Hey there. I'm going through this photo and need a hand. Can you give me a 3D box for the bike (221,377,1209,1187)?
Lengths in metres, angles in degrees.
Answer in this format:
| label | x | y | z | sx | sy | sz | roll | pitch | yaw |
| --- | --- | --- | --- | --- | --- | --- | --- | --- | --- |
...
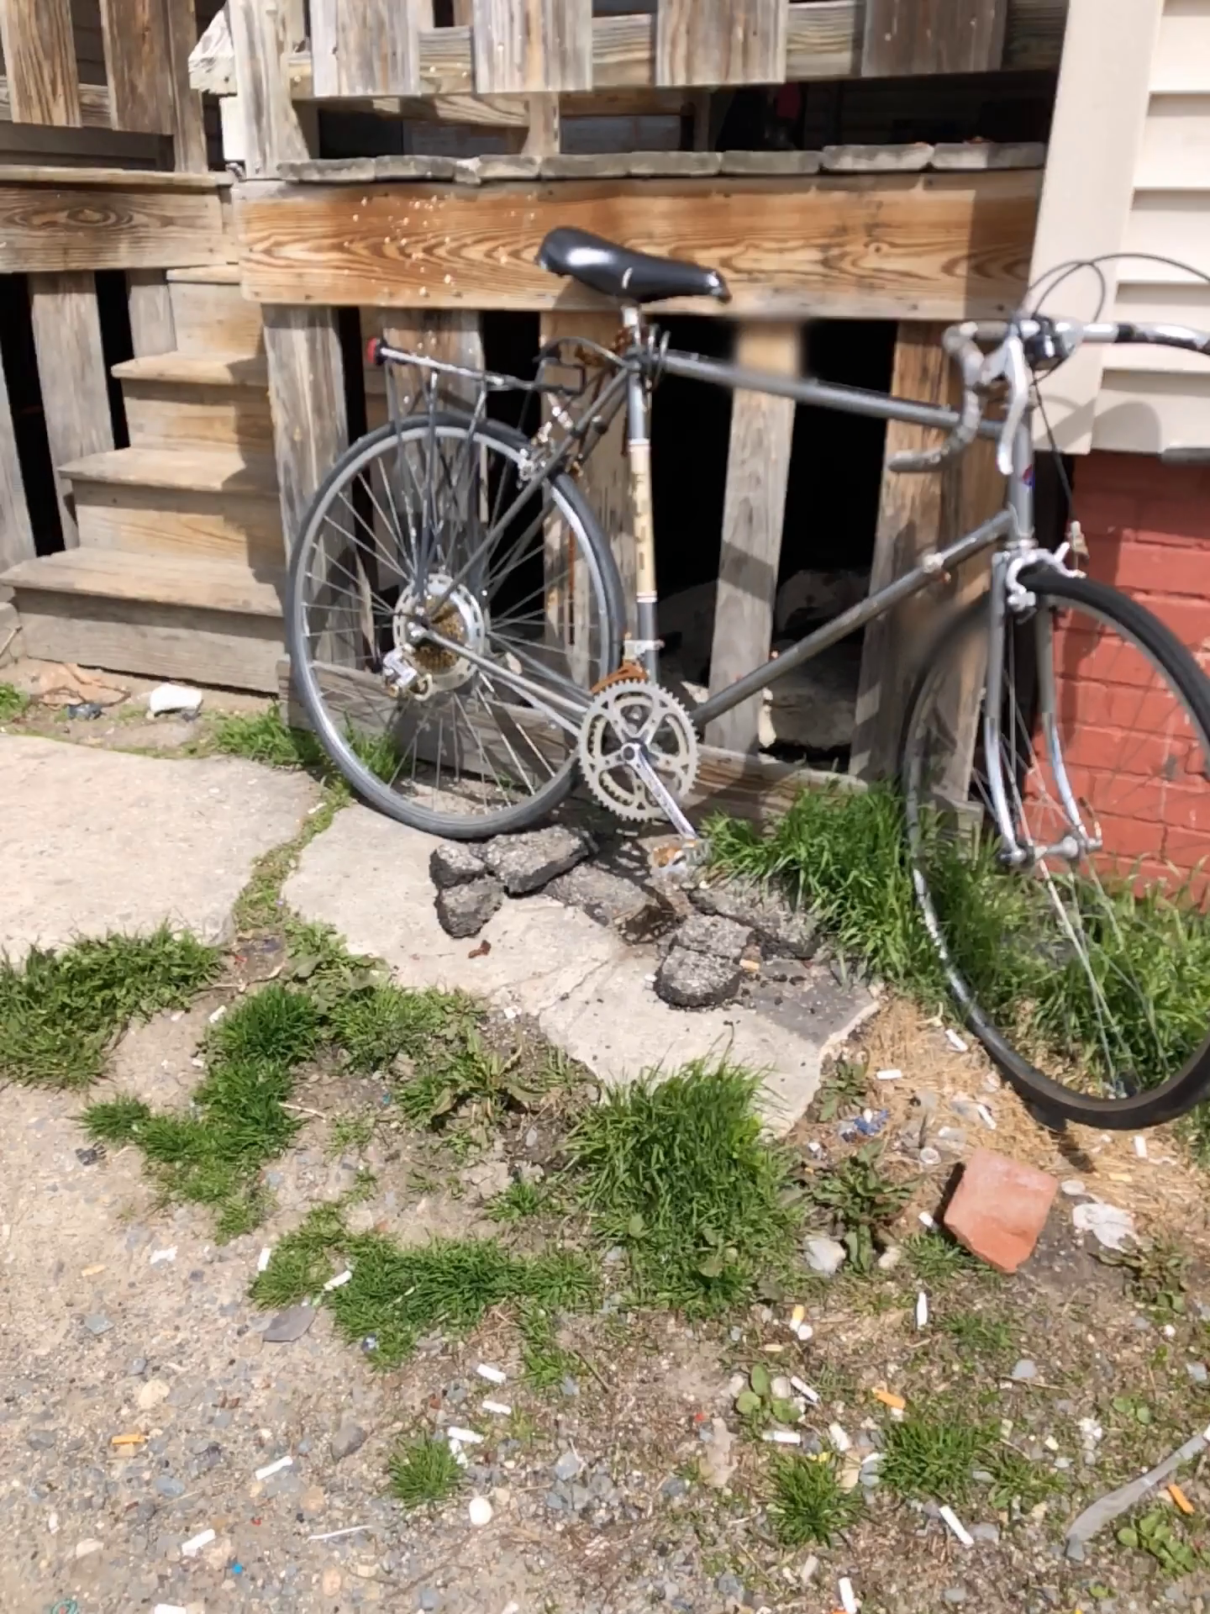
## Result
| label | x | y | z | sx | sy | sz | roll | pitch | yaw |
| --- | --- | --- | --- | --- | --- | --- | --- | --- | --- |
| bike | 0.109 | -0.157 | 1.440 | 1.202 | 0.478 | 0.400 | 20 | 29 | 36 |
